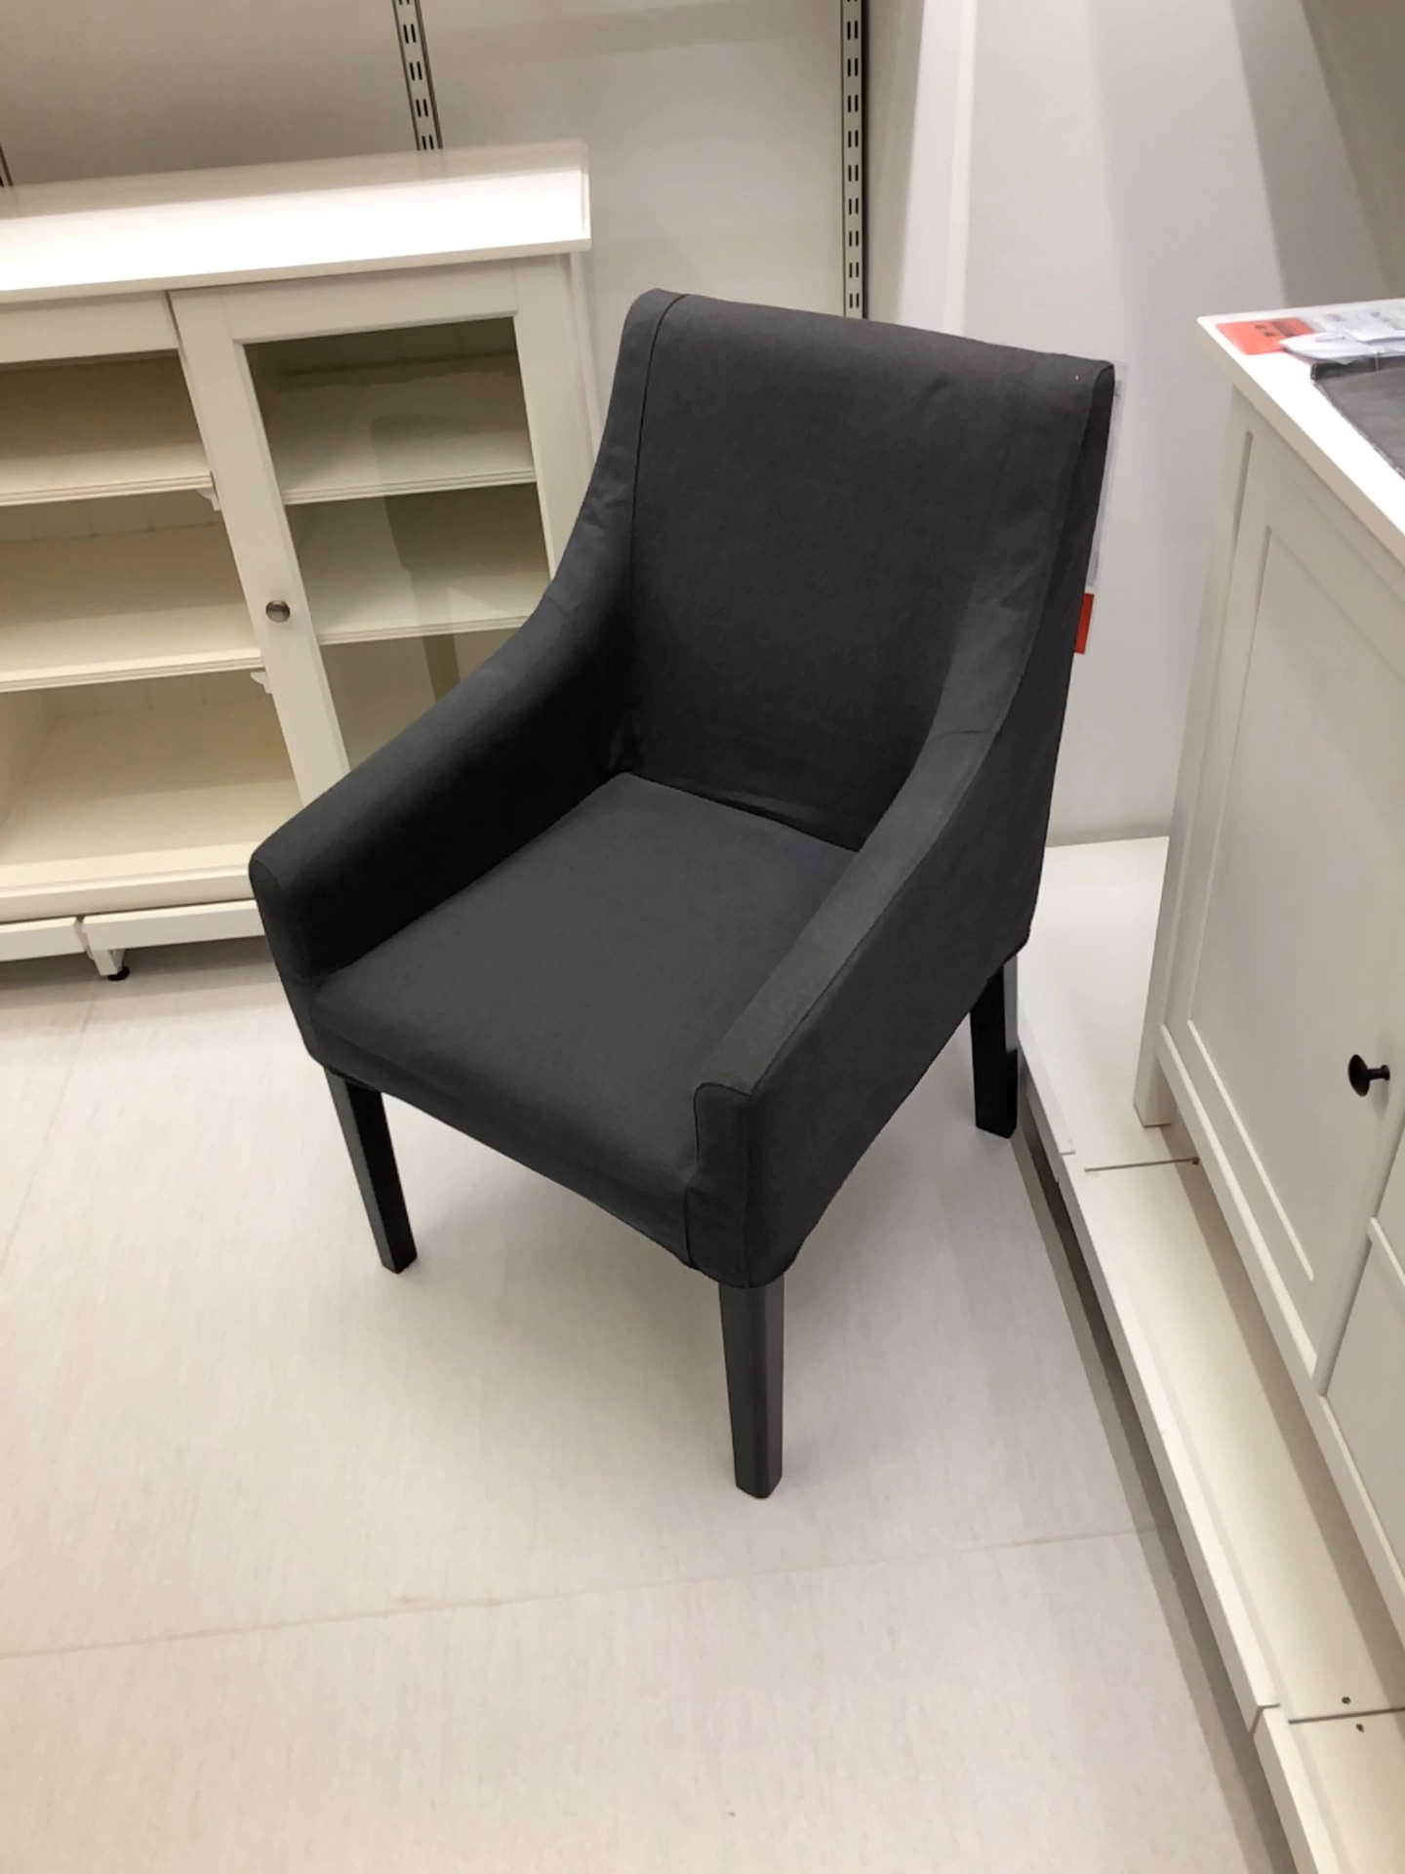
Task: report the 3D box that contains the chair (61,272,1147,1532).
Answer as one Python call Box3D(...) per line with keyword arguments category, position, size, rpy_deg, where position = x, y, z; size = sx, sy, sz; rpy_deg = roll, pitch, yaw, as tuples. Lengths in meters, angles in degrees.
Box3D(category="chair", position=(-0.040, -0.063, 1.497), size=(0.612, 0.884, 0.622), rpy_deg=(23, 46, 31))
